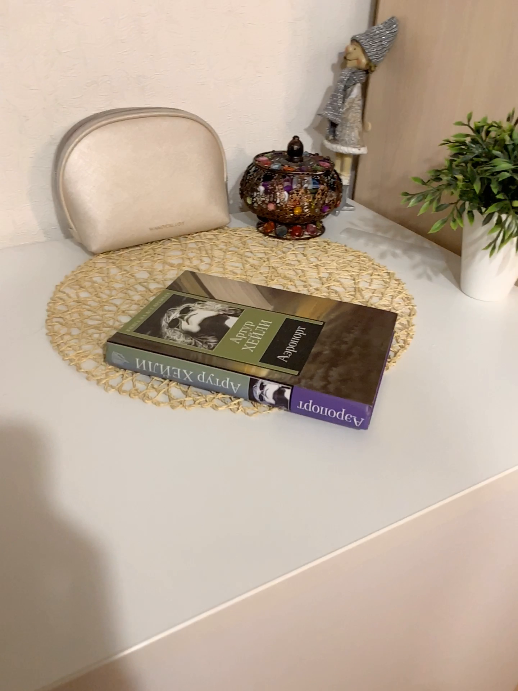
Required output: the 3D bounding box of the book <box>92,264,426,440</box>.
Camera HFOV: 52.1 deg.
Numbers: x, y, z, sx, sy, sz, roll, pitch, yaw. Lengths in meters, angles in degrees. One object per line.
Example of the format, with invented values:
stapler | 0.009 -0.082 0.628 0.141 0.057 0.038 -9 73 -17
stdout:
book | 0.009 -0.009 0.430 0.230 0.020 0.151 12 35 16
